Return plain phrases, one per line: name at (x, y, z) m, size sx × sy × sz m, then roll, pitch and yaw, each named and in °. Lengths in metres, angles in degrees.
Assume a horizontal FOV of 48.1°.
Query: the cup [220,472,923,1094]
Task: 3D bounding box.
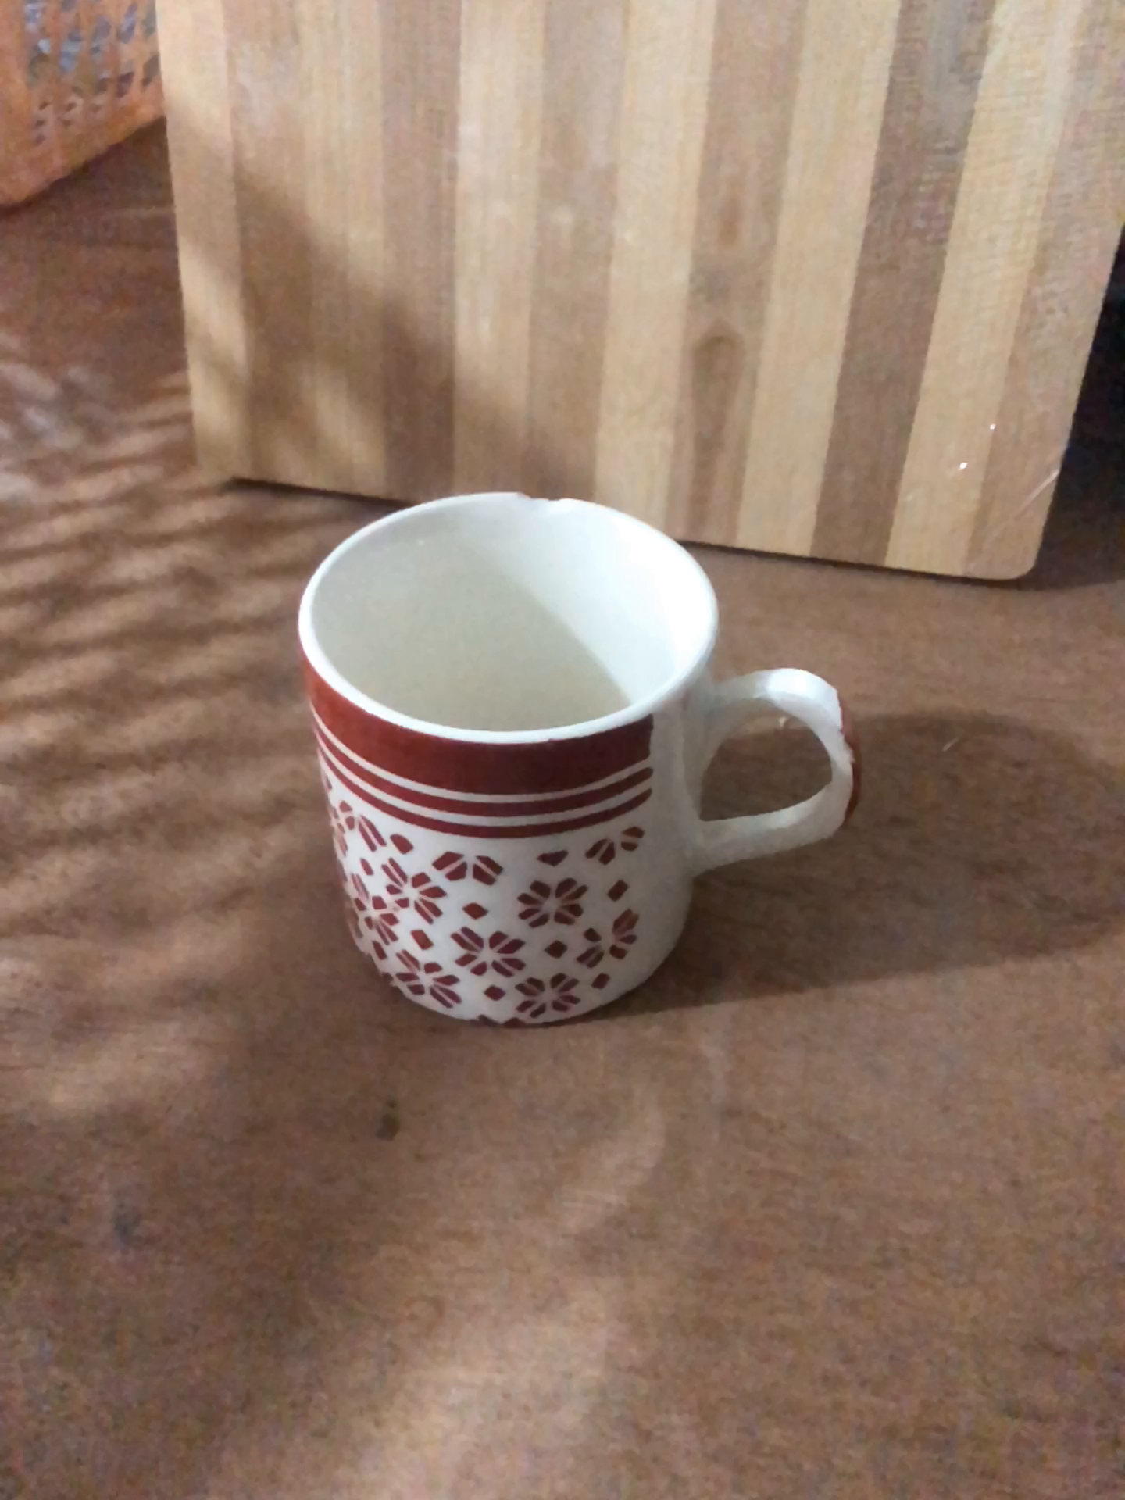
cup at (0.003, 0.006, 0.210) m, size 0.090 × 0.080 × 0.060 m, roll 3°, pitch 43°, yaw 4°
